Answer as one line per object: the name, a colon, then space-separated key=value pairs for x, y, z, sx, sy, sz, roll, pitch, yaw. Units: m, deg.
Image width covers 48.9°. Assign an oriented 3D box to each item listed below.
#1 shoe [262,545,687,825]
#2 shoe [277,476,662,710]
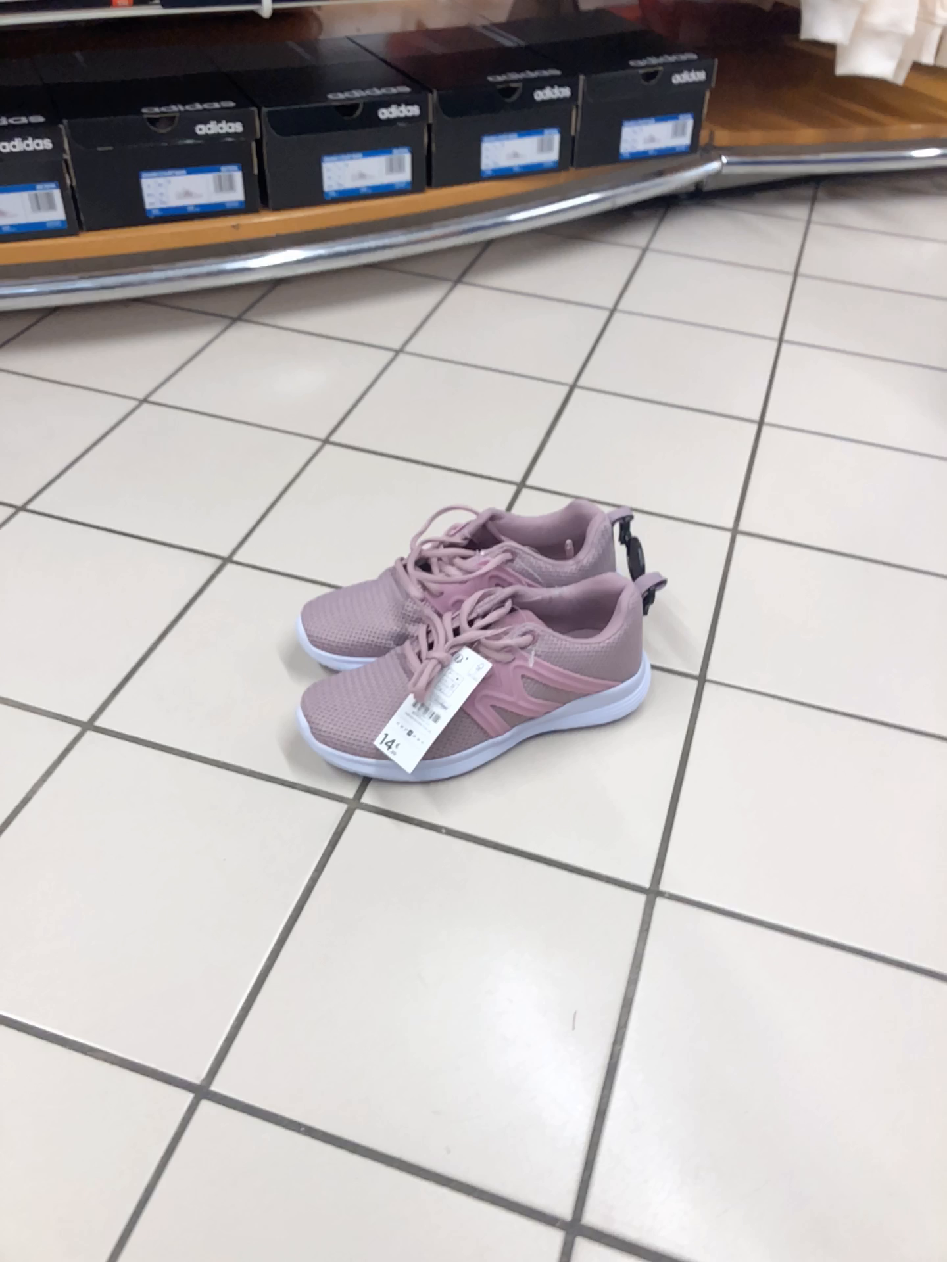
shoe: x=-0.001 y=0.032 z=0.718 sx=0.261 sy=0.099 sz=0.103 roll=-11 pitch=44 yaw=-16
shoe: x=-0.005 y=-0.033 z=0.781 sx=0.261 sy=0.092 sz=0.100 roll=-10 pitch=43 yaw=-15
